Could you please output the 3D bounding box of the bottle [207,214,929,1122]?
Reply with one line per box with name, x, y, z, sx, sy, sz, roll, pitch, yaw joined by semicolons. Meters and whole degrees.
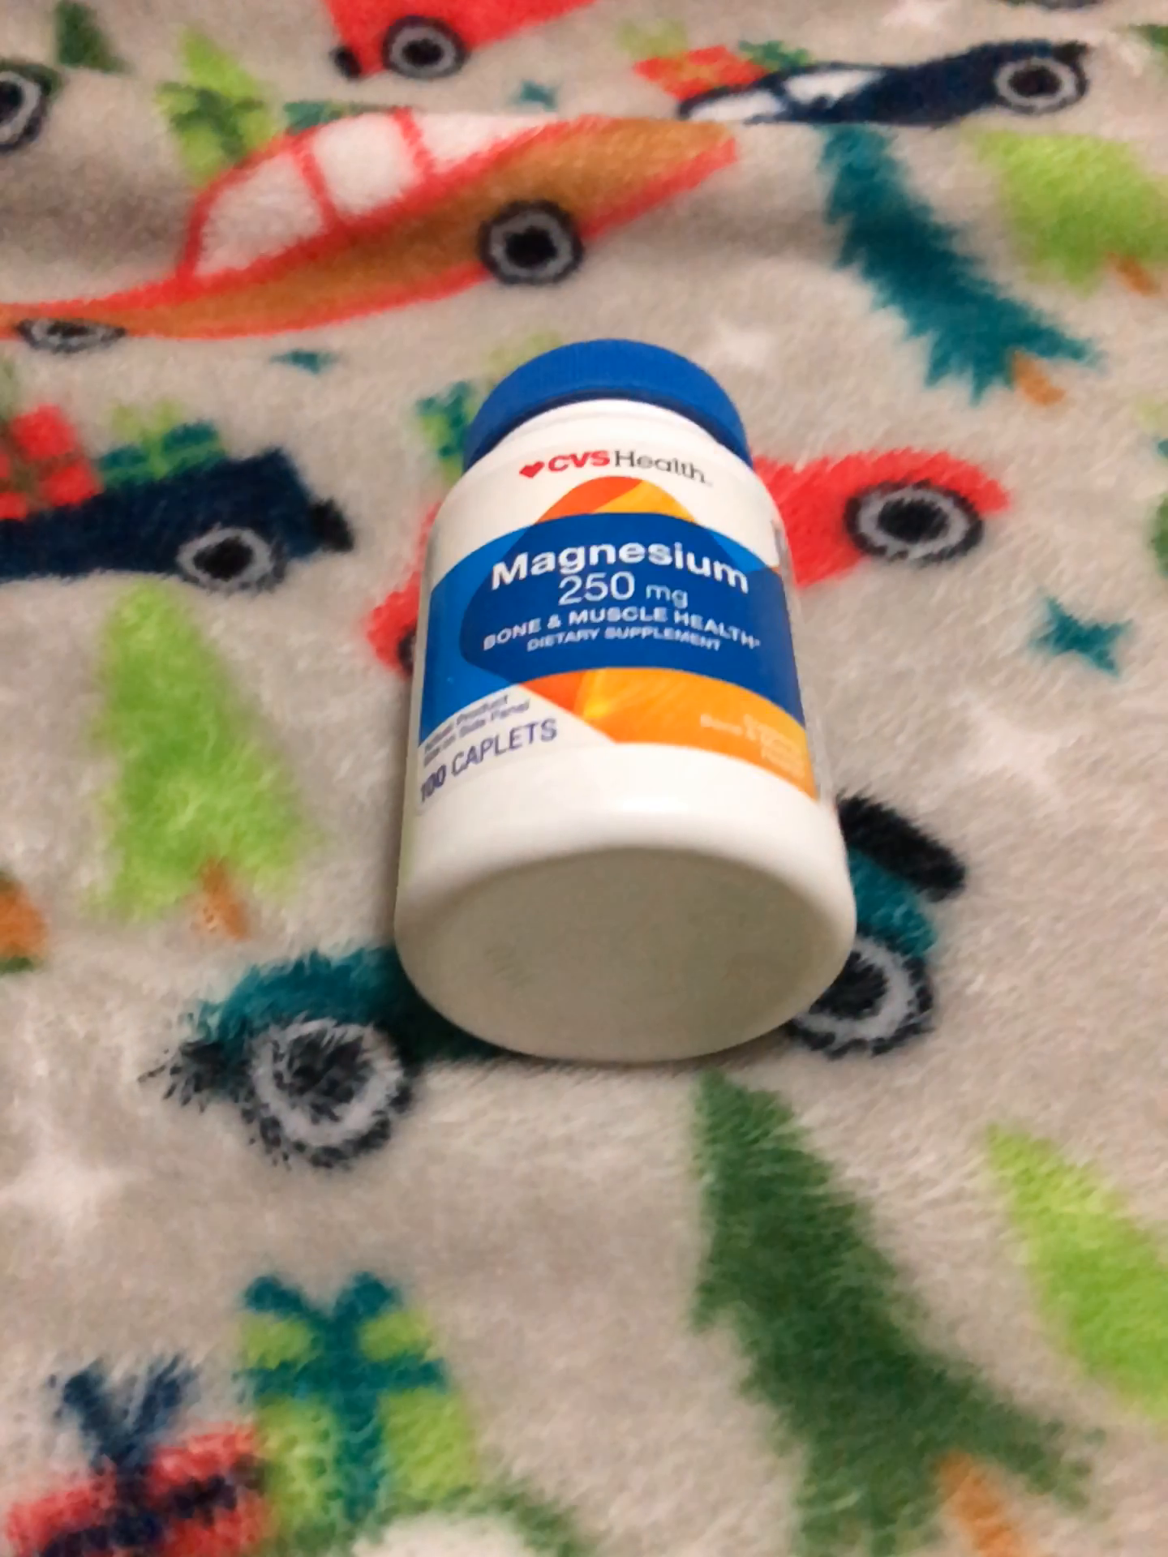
bottle;-0.002;-0.018;0.161;0.060;0.050;0.100;-4;50;1
